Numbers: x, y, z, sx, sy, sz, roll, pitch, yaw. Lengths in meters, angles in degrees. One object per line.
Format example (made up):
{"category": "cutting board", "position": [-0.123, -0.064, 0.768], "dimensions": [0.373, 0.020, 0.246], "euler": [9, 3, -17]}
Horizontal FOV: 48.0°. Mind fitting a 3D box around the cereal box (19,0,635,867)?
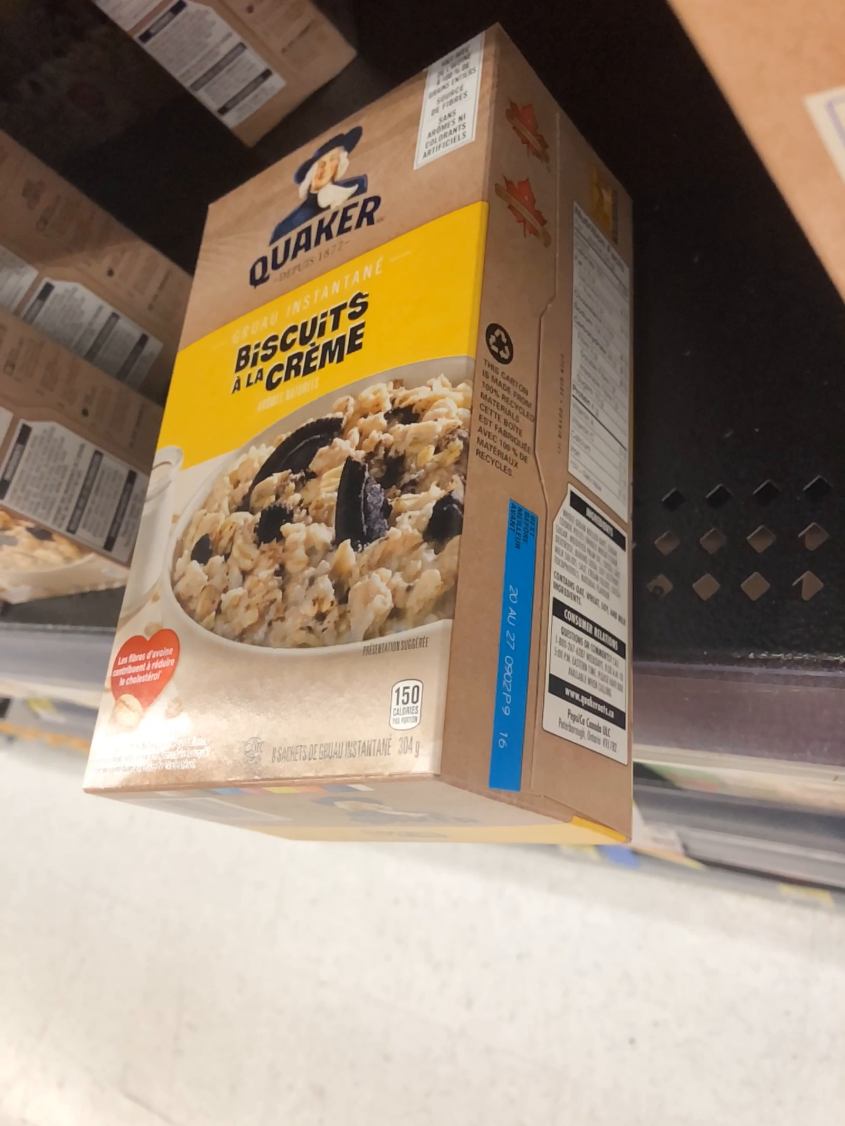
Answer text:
{"category": "cereal box", "position": [-0.021, -0.030, 0.268], "dimensions": [0.141, 0.070, 0.210], "euler": [-12, 63, 38]}
